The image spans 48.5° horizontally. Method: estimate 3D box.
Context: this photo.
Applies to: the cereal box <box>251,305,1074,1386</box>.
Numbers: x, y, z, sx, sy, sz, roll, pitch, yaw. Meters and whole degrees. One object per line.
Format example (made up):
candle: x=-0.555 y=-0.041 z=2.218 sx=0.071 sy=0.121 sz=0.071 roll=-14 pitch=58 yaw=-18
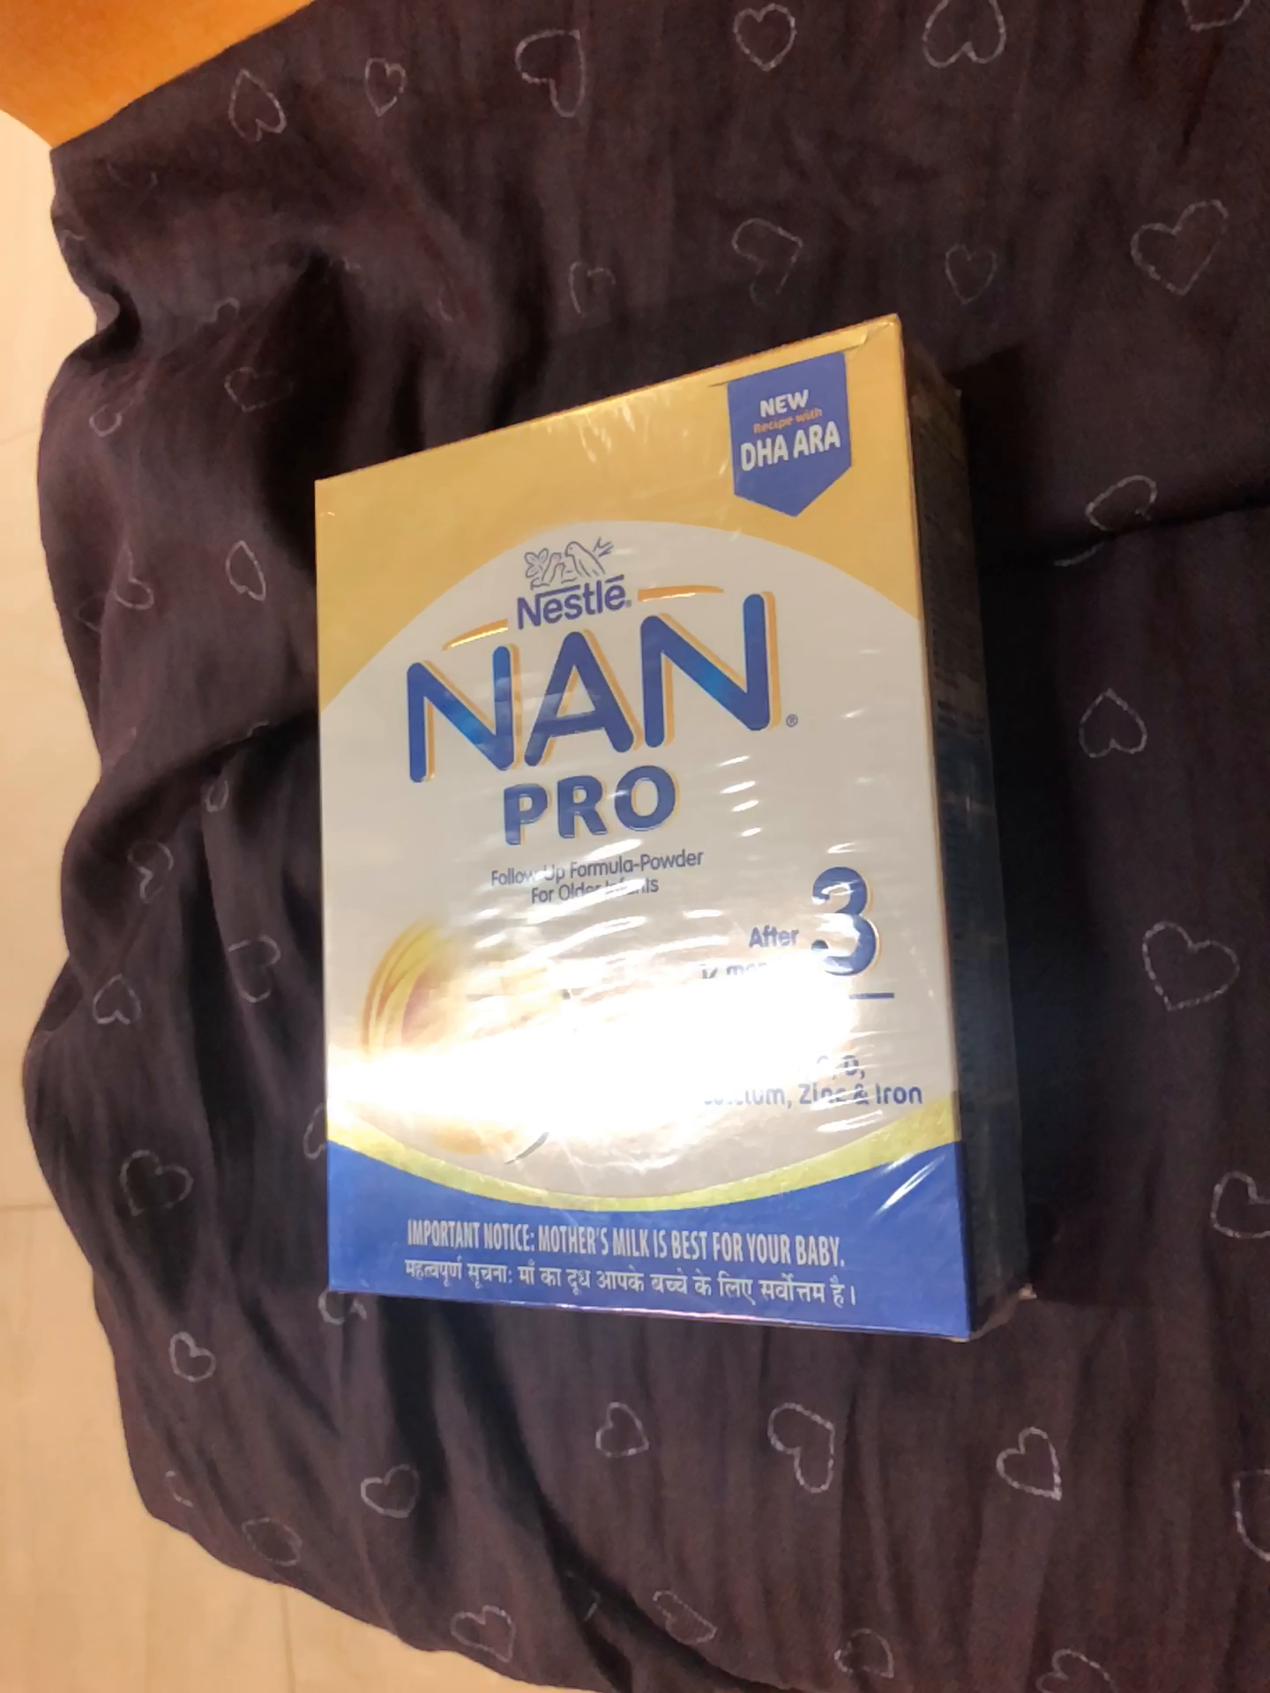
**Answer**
cereal box: x=0.001 y=0.006 z=0.315 sx=0.160 sy=0.070 sz=0.190 roll=-6 pitch=83 yaw=29
